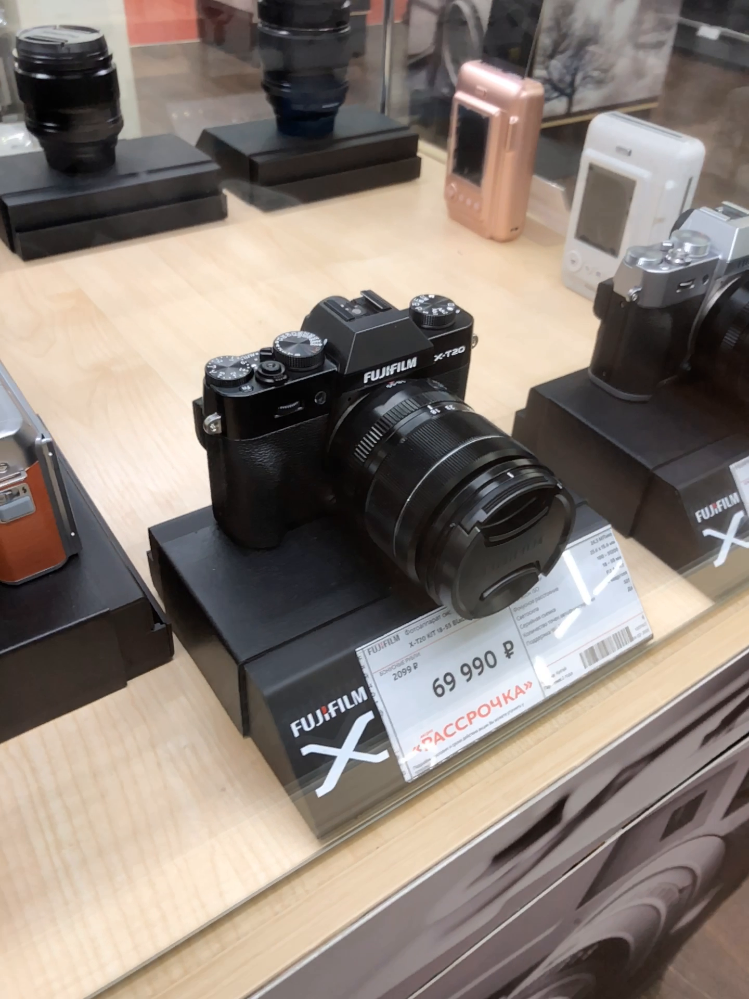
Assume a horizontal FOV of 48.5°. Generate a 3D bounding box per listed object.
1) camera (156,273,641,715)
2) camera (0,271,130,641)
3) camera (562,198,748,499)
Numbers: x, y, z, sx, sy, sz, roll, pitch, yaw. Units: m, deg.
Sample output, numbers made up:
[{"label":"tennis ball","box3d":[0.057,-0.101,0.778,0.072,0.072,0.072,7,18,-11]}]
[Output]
[{"label":"camera","box3d":[0.003,-0.014,0.322,0.122,0.080,0.130,-21,45,-27]},{"label":"camera","box3d":[-0.154,-0.024,0.306,0.074,0.063,0.122,-22,46,-28]},{"label":"camera","box3d":[0.190,-0.083,0.412,0.130,0.072,0.124,-22,46,-28]}]
